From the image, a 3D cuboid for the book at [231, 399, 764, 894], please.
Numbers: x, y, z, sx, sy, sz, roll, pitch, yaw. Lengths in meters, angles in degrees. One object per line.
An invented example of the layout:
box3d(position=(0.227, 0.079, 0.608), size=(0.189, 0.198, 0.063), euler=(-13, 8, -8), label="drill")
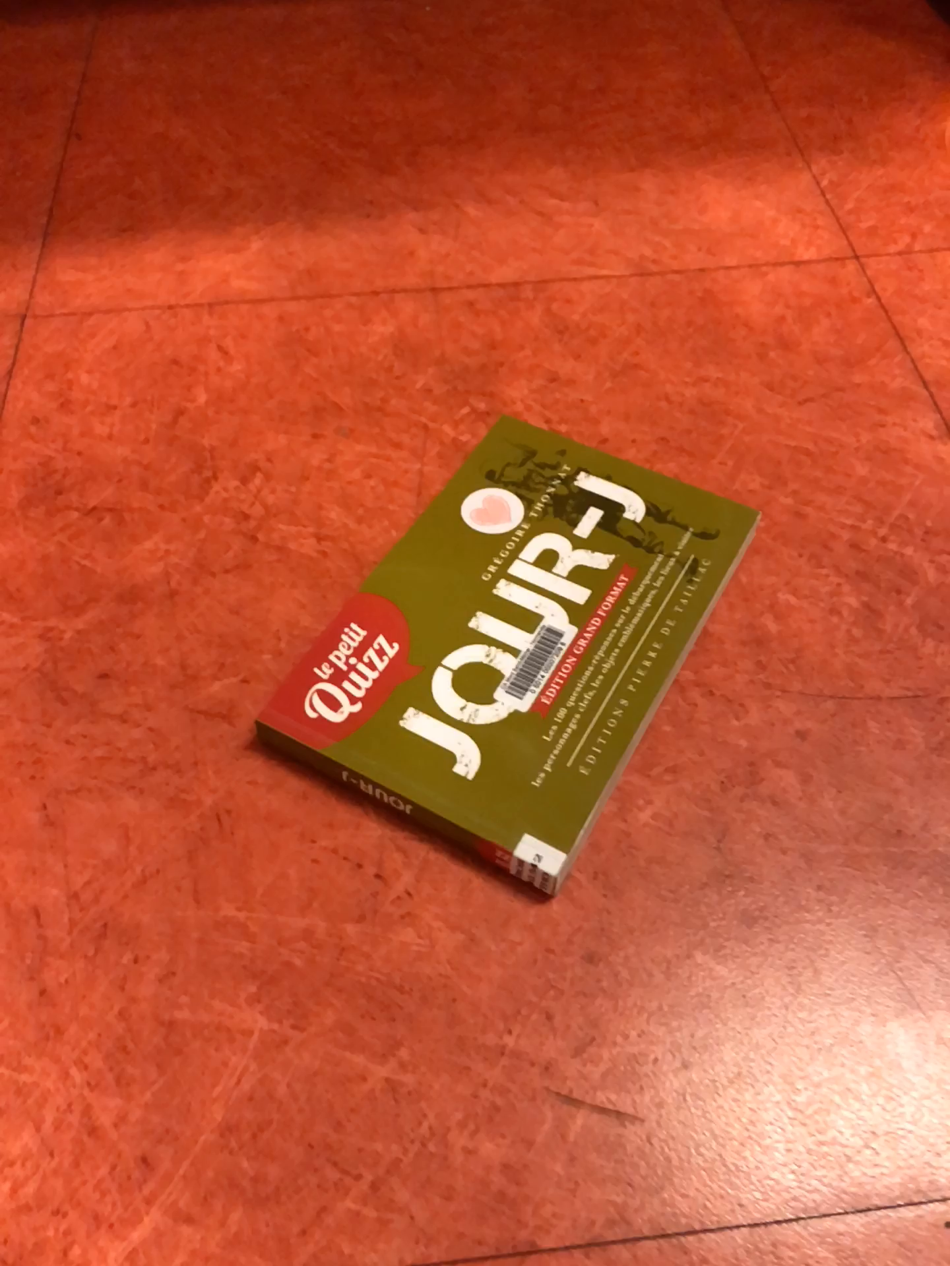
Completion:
box3d(position=(0.019, -0.012, 0.452), size=(0.136, 0.016, 0.219), euler=(24, 55, 18), label="book")
